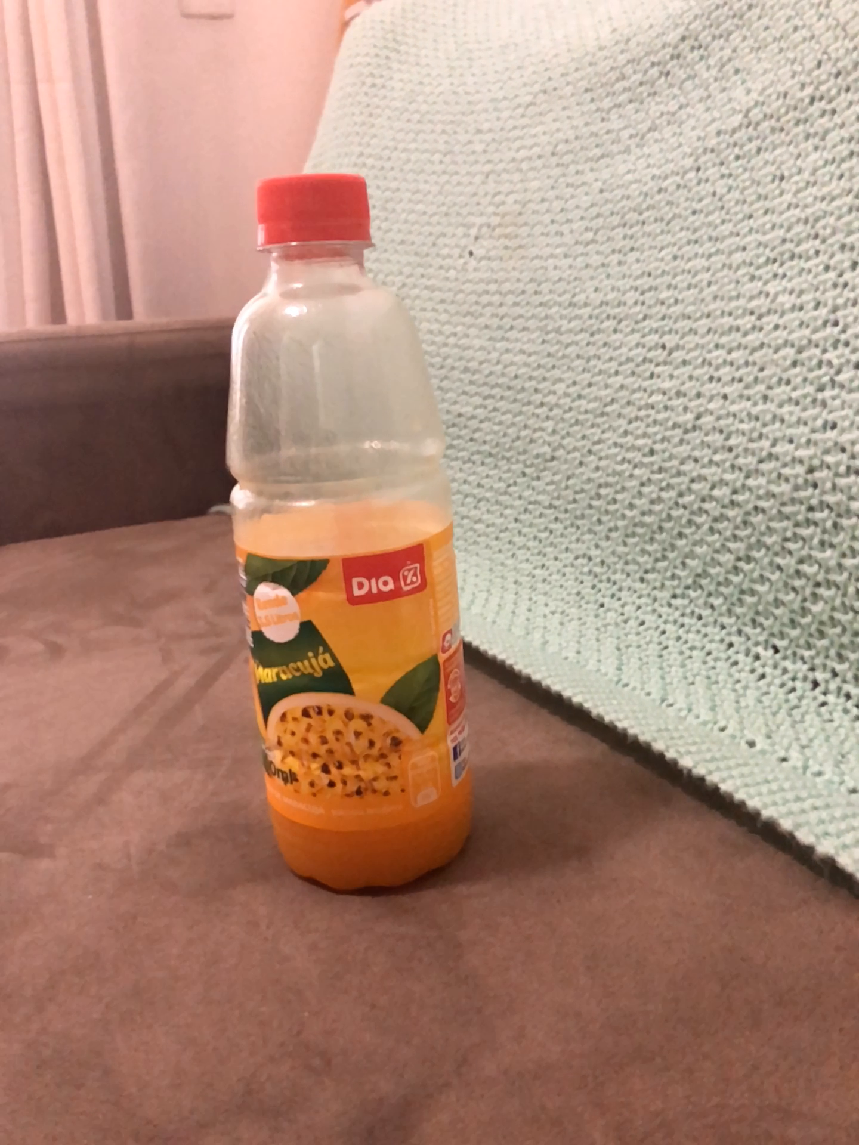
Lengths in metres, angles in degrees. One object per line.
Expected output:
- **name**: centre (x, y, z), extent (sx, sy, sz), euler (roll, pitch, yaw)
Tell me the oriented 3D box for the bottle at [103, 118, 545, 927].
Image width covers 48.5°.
- **bottle**: centre (-0.024, -0.016, 0.284), extent (0.080, 0.199, 0.080), euler (-4, 14, 1)
